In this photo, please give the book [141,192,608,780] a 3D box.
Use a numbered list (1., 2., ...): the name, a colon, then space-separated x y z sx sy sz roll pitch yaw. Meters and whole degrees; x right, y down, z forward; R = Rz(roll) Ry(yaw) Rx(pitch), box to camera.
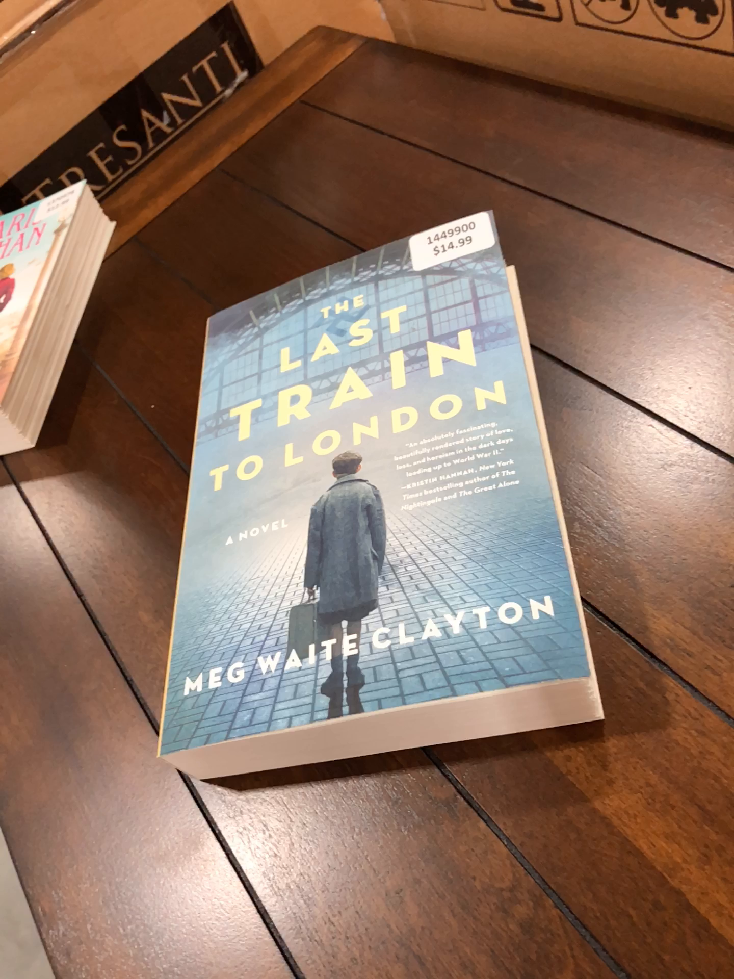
1. book: -0.003 -0.010 0.333 0.151 0.041 0.220 -16 53 19
